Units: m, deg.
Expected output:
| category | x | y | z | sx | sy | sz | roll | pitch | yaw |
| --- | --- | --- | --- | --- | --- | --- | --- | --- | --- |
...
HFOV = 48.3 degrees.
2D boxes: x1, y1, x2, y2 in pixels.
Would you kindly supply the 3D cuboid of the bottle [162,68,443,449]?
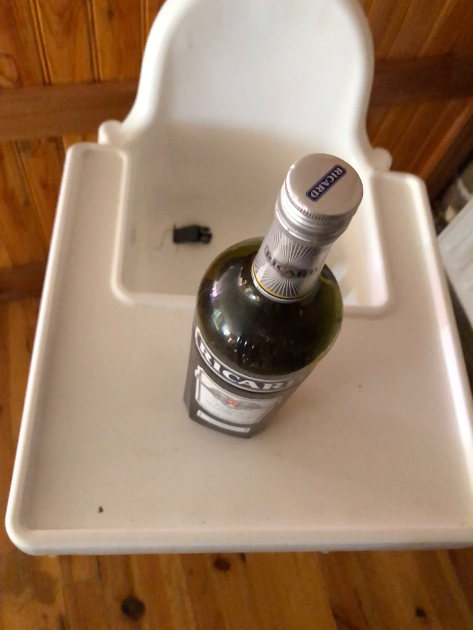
| category | x | y | z | sx | sy | sz | roll | pitch | yaw |
| --- | --- | --- | --- | --- | --- | --- | --- | --- | --- |
| bottle | 0.011 | 0.006 | 0.336 | 0.090 | 0.299 | 0.070 | 19 | 63 | 0 |
